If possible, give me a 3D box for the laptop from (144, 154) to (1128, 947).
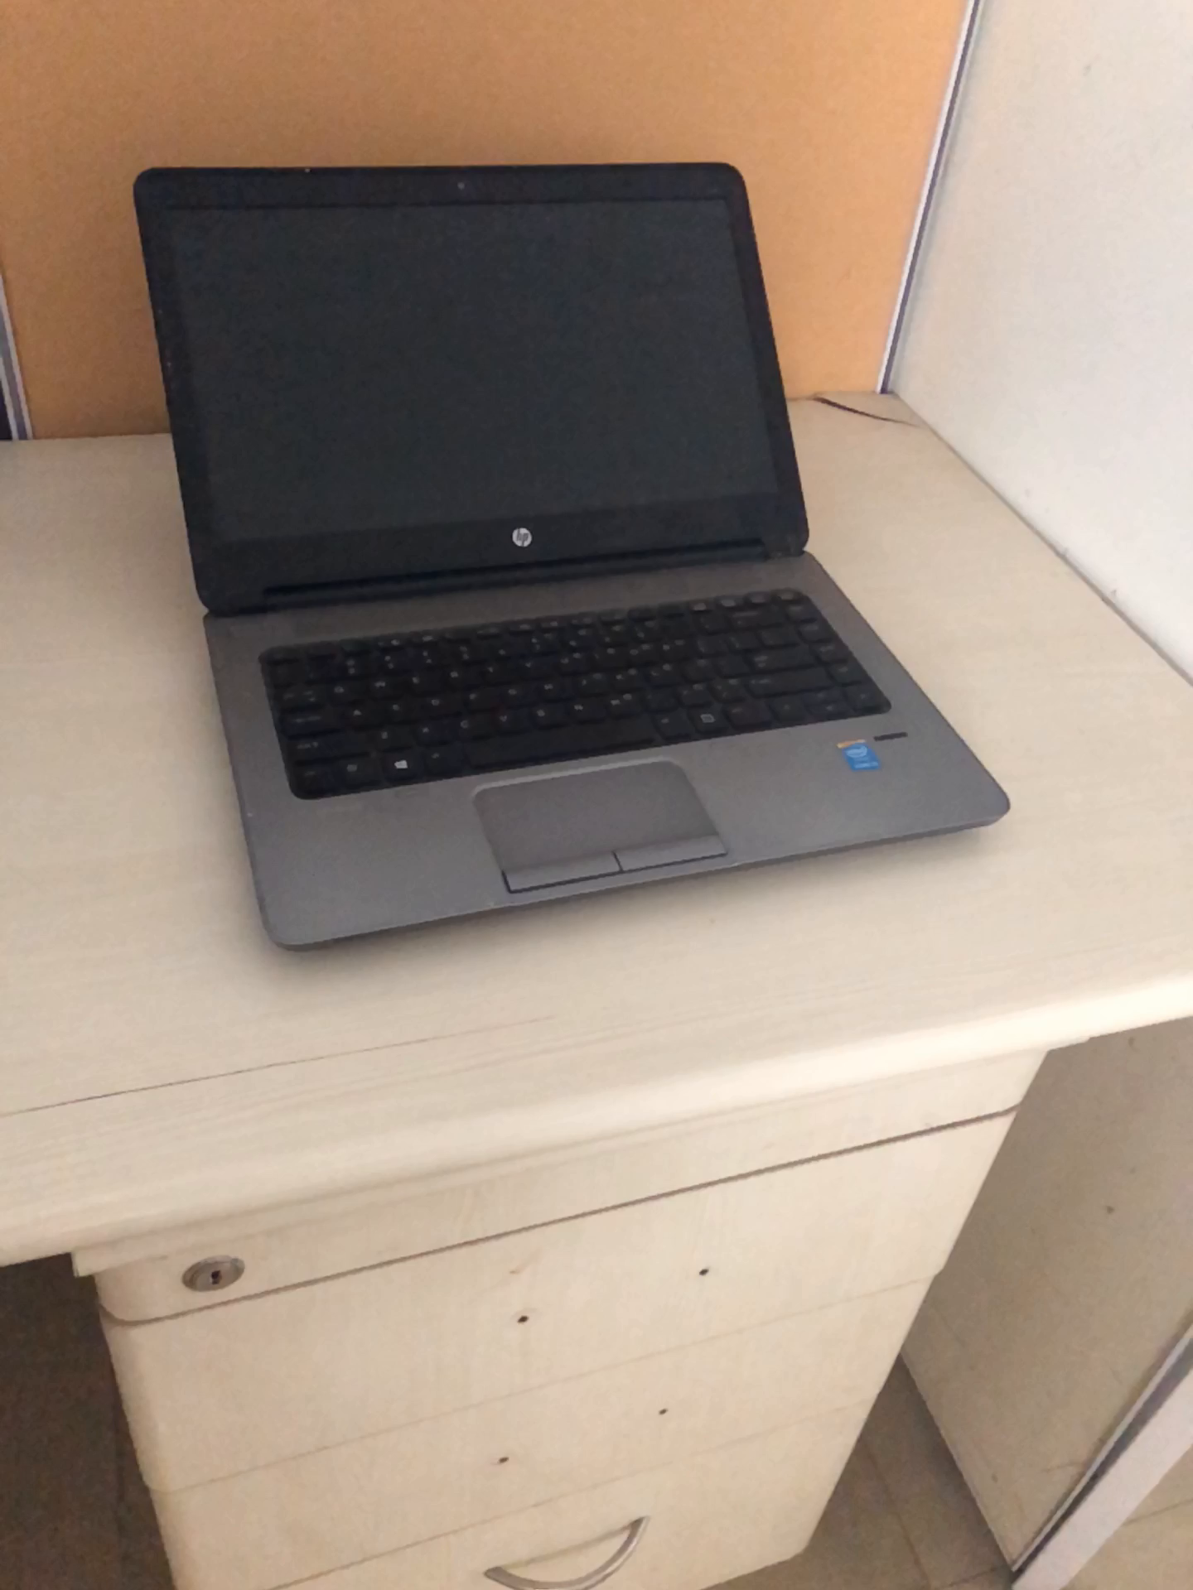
[{"bbox_3d":[-0.018,-0.155,0.631,0.324,0.166,0.373,-9,45,-18],"label":"laptop"}]
